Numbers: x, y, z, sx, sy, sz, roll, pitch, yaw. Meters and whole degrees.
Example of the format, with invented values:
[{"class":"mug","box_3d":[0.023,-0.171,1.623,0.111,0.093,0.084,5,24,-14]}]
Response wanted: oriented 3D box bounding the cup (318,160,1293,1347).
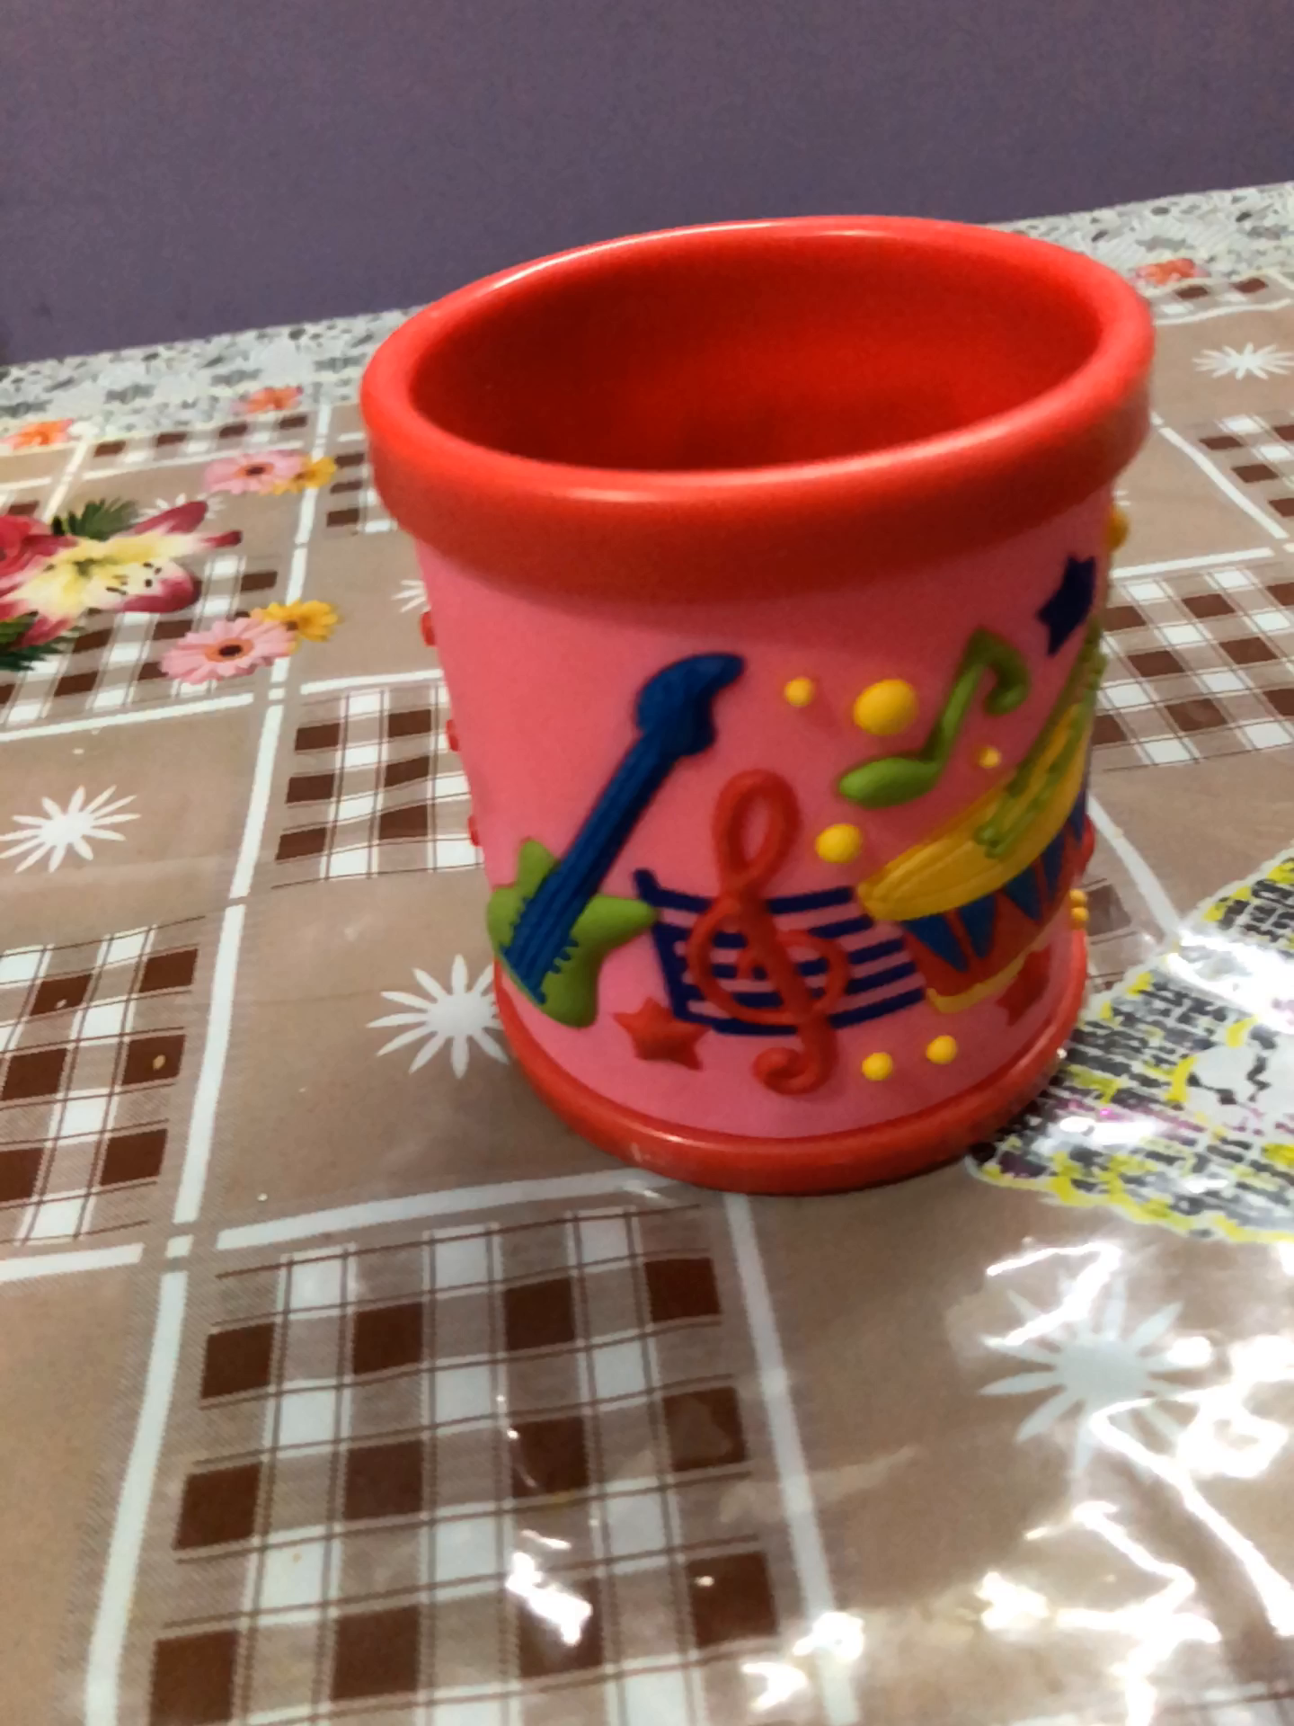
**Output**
[{"class":"cup","box_3d":[0.016,-0.016,0.173,0.080,0.099,0.080,-4,38,3]}]
